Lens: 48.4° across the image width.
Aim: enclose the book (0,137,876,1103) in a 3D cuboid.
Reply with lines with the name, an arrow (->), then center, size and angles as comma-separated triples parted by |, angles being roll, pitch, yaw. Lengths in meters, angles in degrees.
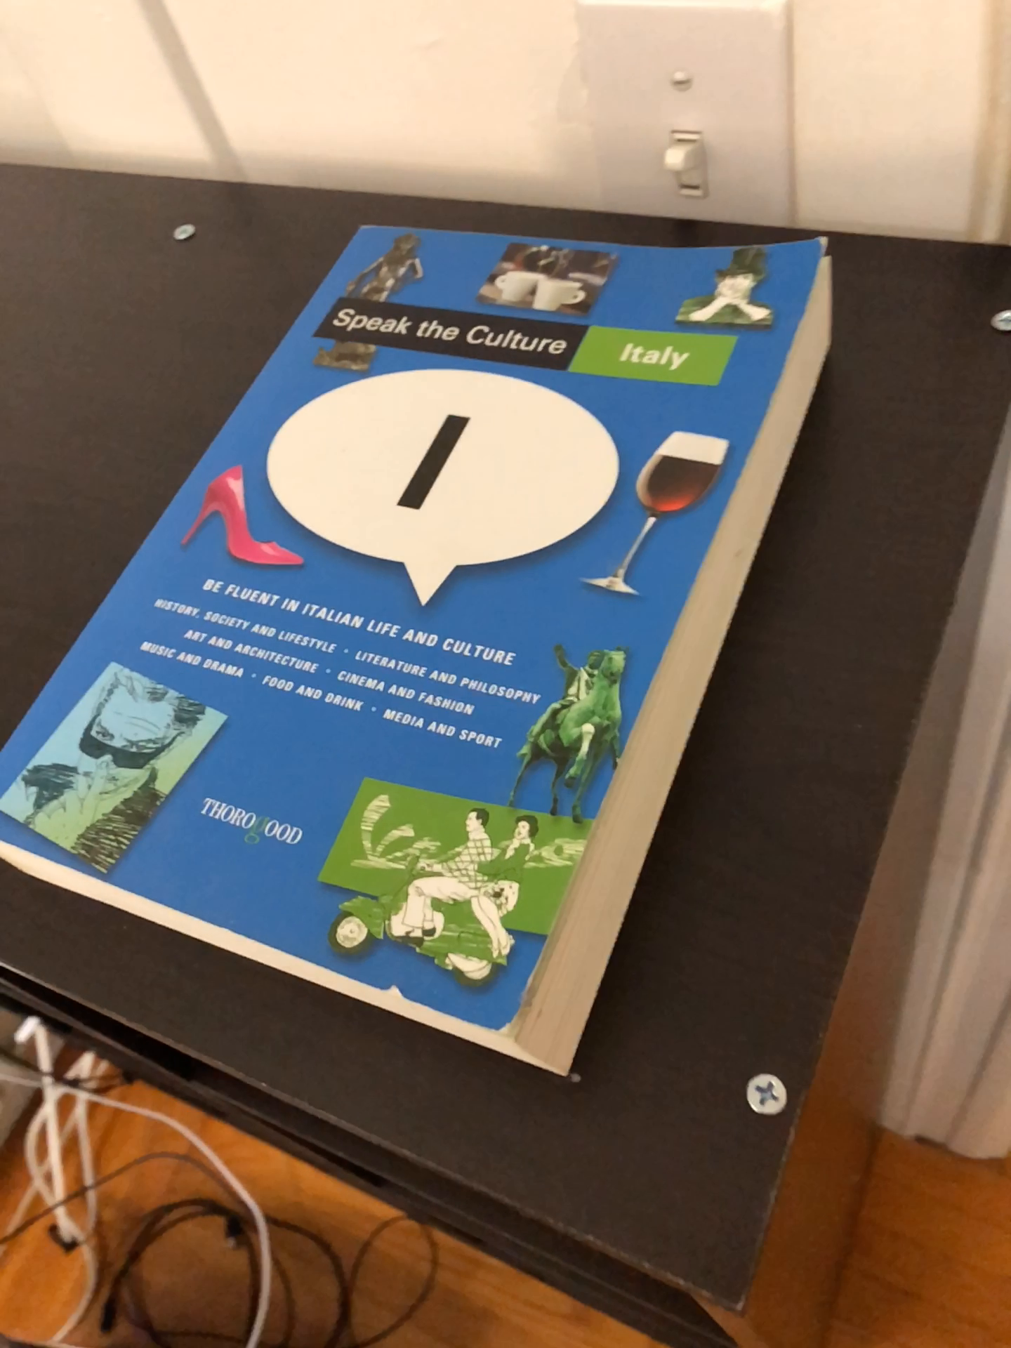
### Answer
book -> -0.033, -0.051, 0.305 | 0.200, 0.030, 0.261 | 13, 61, 23
